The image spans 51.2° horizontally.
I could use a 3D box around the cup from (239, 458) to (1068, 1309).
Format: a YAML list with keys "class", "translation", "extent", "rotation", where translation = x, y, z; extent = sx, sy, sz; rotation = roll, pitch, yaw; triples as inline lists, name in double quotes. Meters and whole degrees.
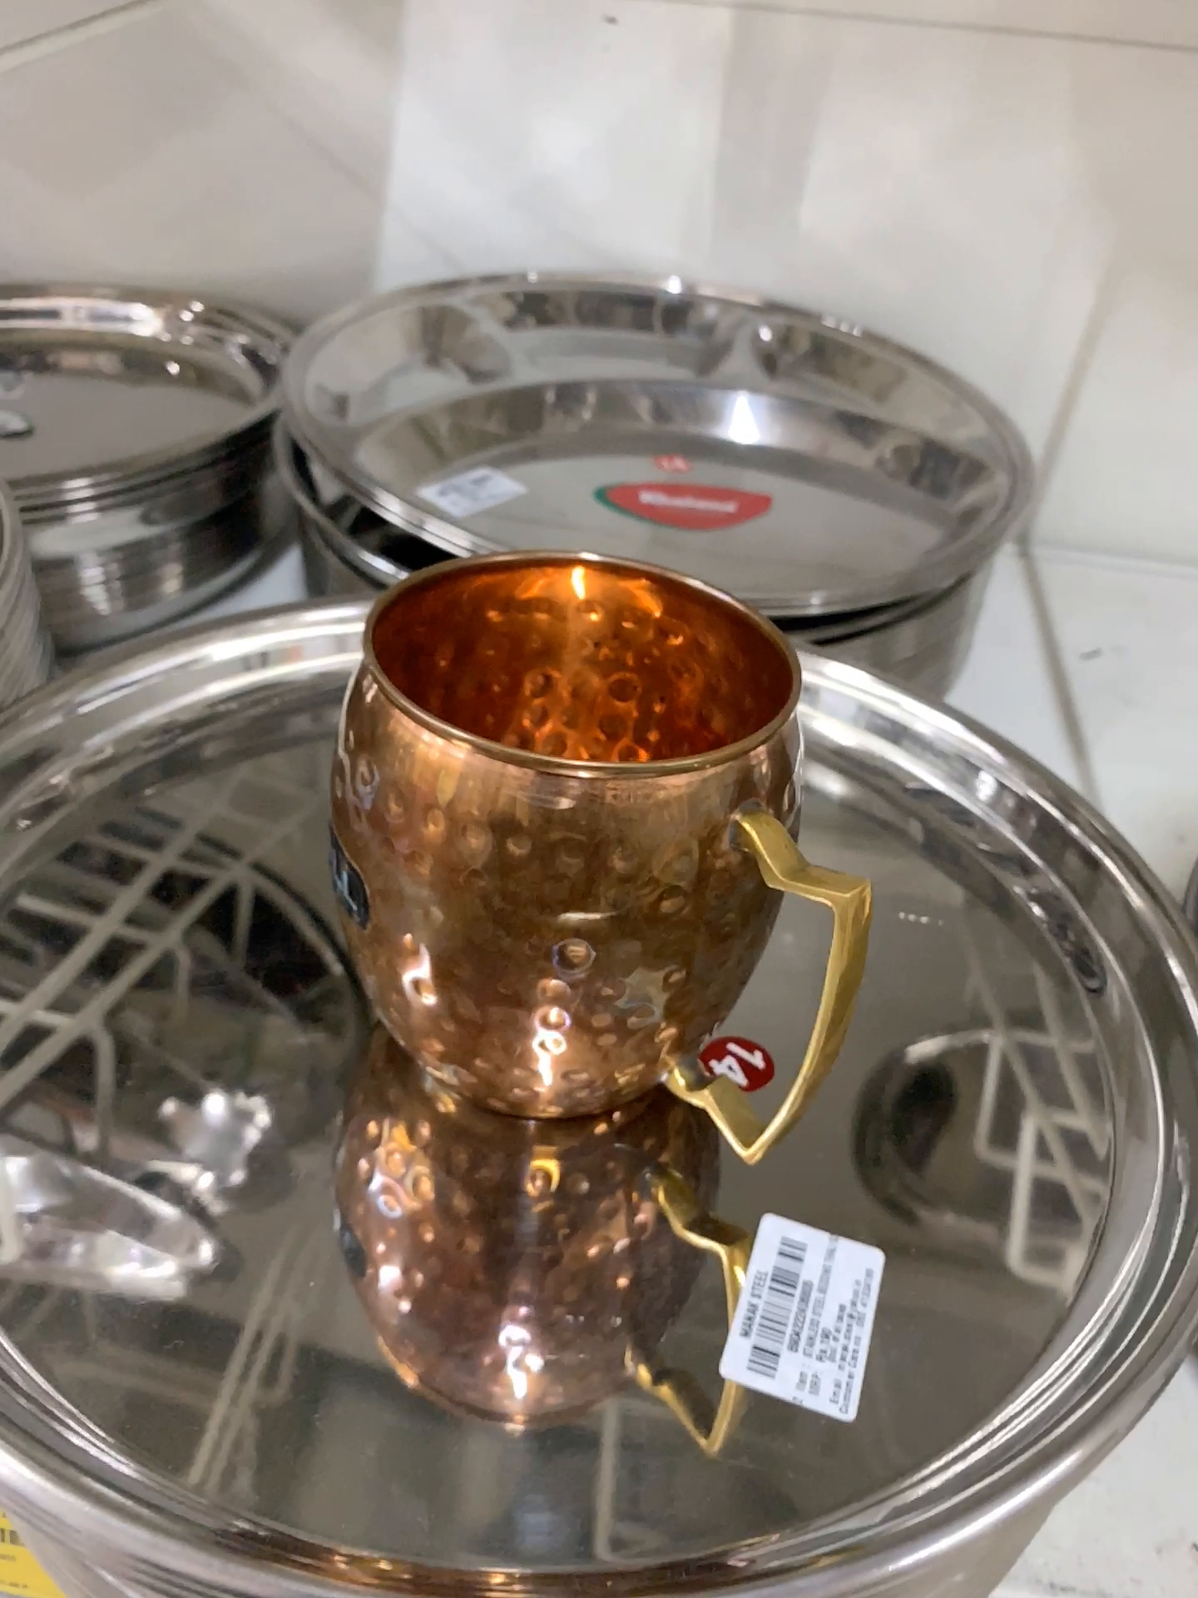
- class: "cup"
  translation: [0.004, 0.006, 0.239]
  extent: [0.090, 0.090, 0.110]
  rotation: [-25, 47, -32]
